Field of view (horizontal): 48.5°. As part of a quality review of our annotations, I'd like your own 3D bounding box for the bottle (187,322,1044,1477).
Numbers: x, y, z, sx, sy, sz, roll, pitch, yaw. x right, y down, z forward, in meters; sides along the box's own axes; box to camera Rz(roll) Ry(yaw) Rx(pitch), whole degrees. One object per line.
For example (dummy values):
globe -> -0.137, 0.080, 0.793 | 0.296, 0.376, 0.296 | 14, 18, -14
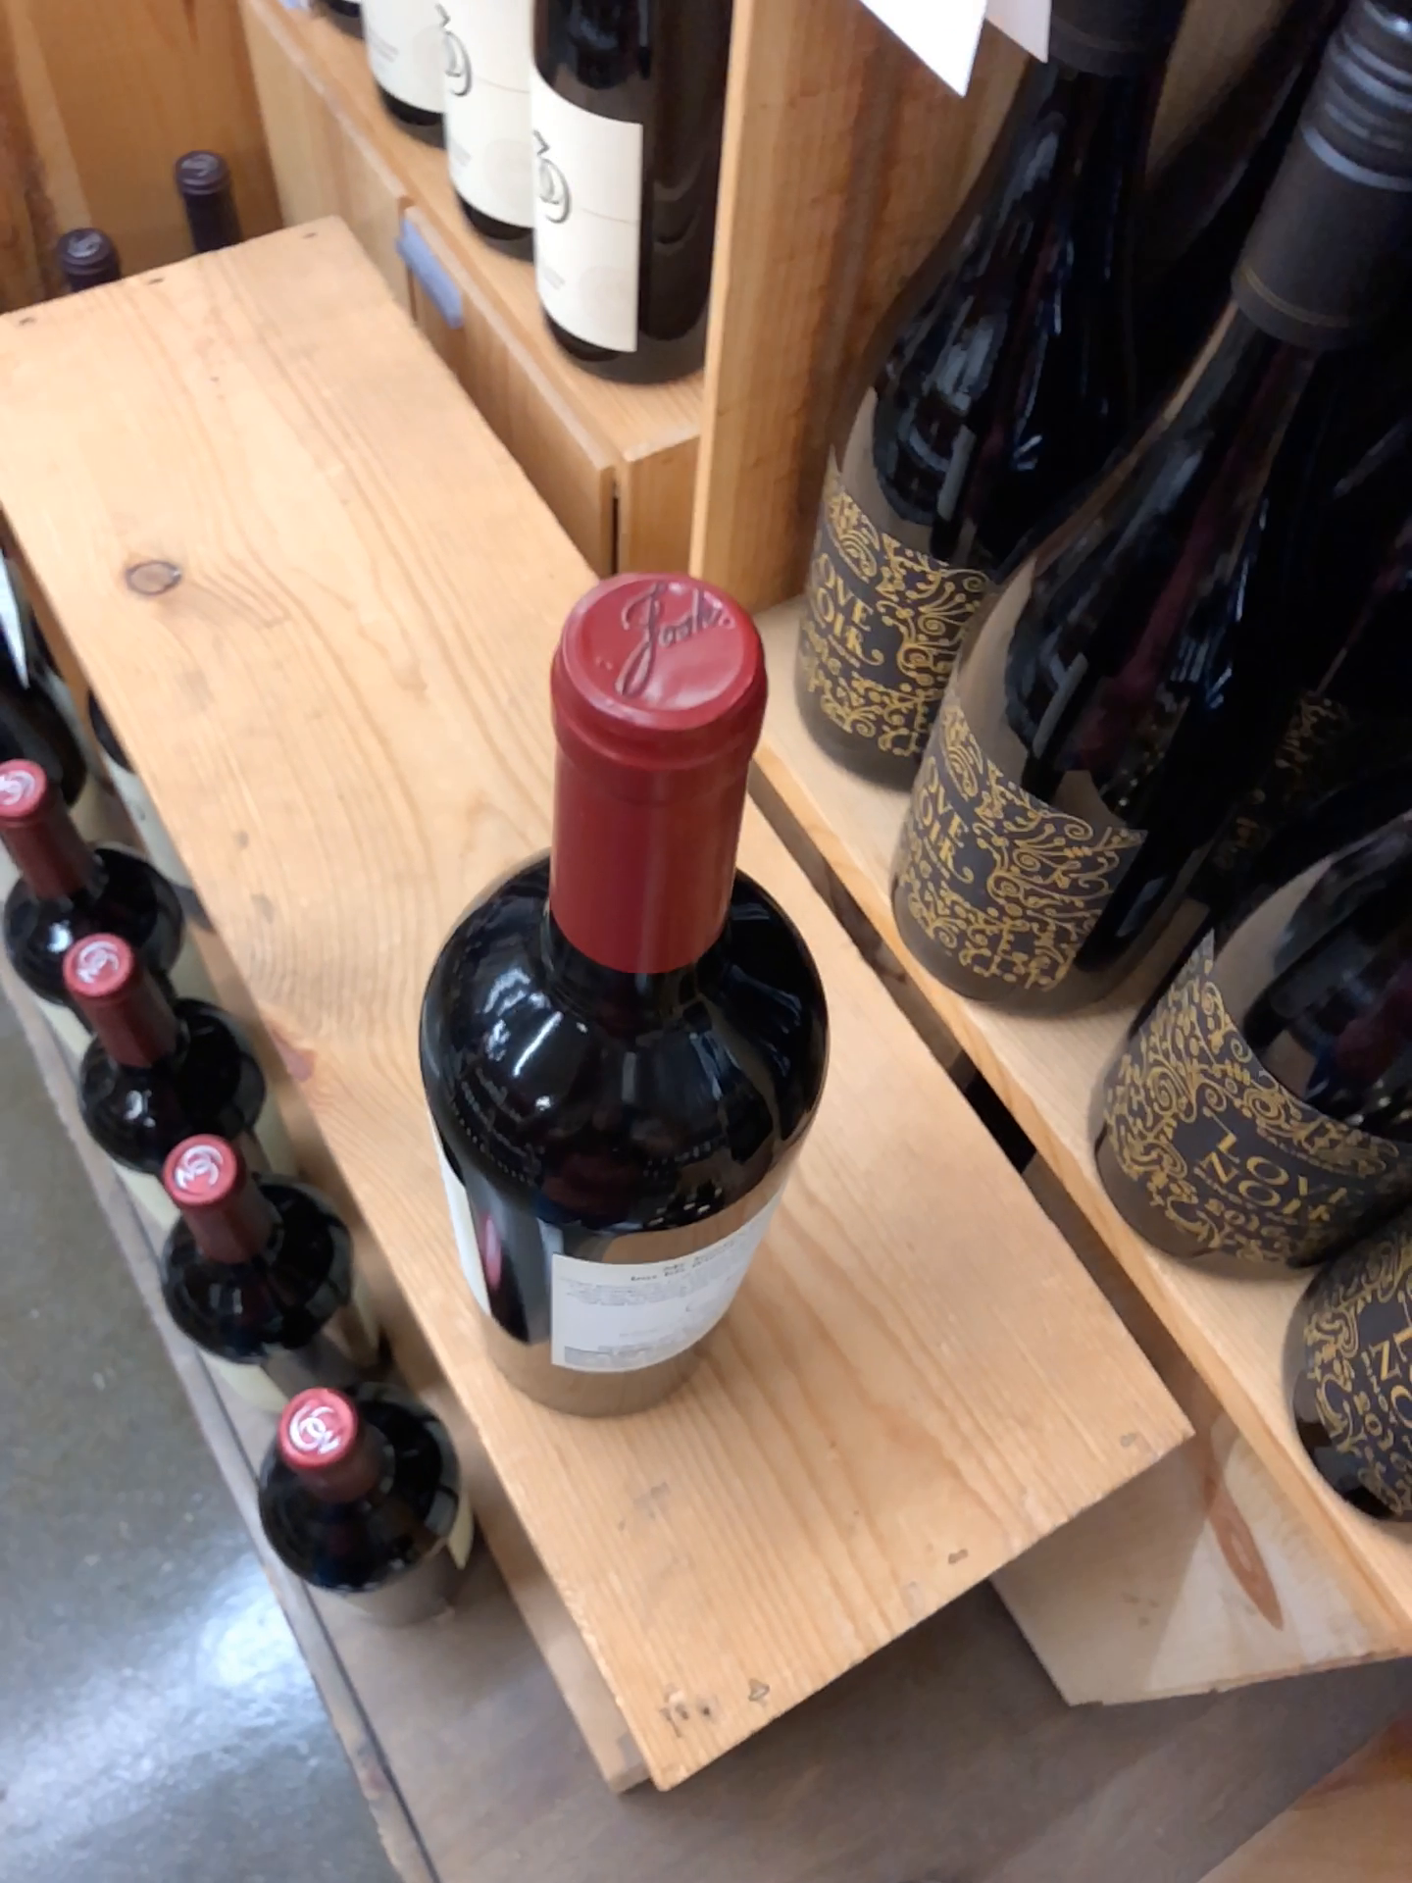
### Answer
bottle -> -0.017, 0.030, 0.327 | 0.080, 0.294, 0.080 | 2, 61, -3
